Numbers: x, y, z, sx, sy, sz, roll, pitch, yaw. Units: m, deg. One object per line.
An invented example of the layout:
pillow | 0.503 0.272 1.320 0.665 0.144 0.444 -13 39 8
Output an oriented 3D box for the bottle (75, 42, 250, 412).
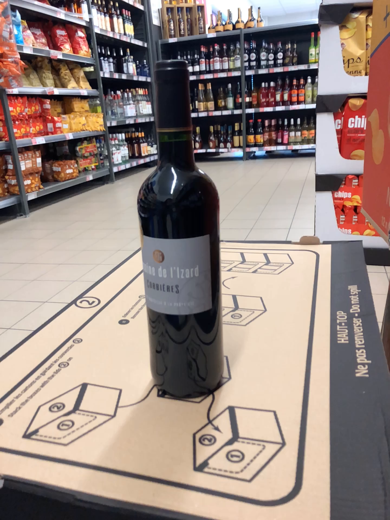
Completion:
bottle | -0.018 -0.025 0.373 0.090 0.279 0.090 -4 18 1
